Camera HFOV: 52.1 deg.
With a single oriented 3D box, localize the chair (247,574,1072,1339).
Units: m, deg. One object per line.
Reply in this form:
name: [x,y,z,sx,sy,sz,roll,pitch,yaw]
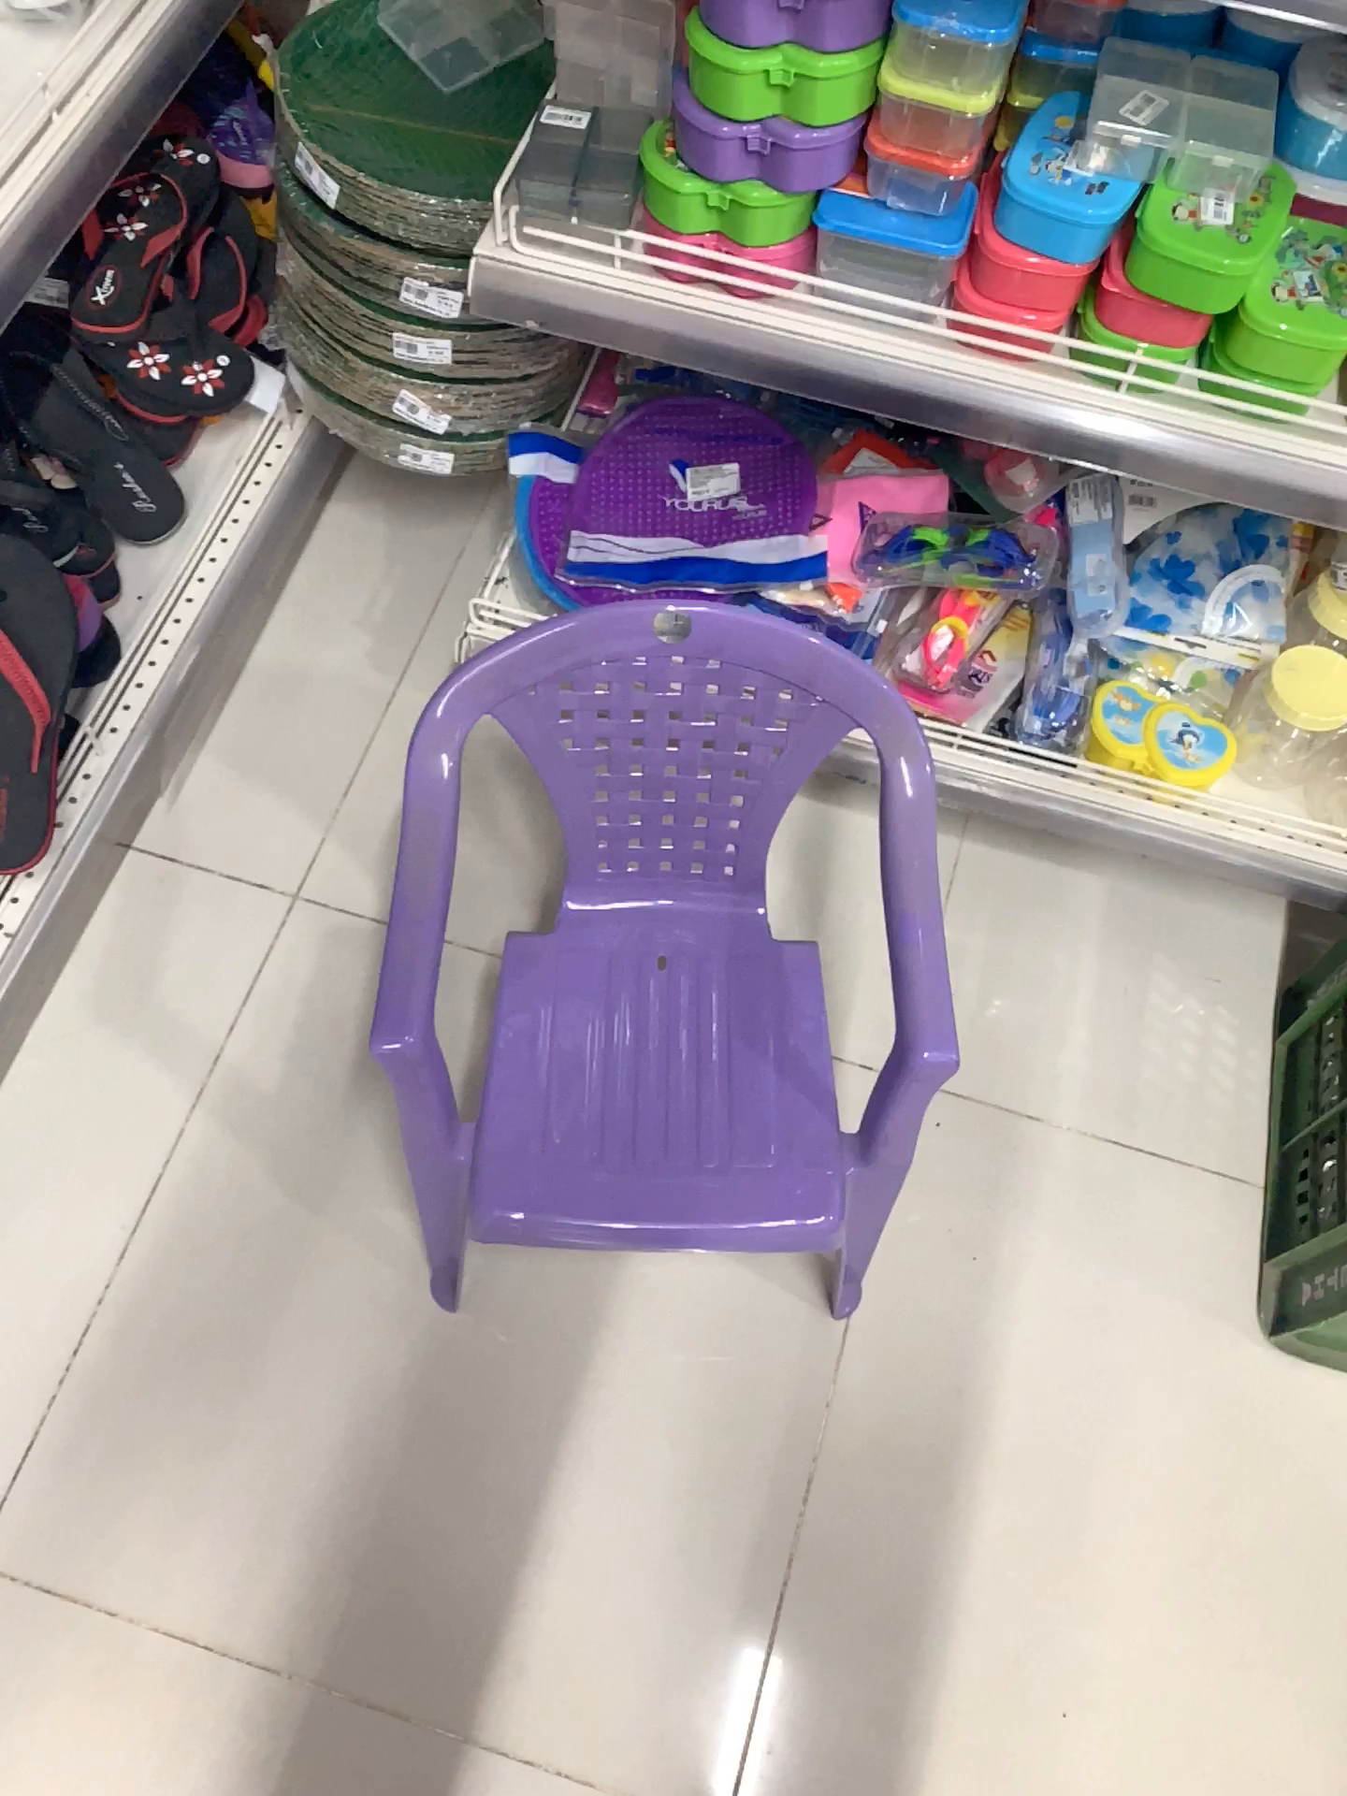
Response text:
chair: [-0.016,0.070,0.983,0.420,0.429,0.401,0,64,-2]
